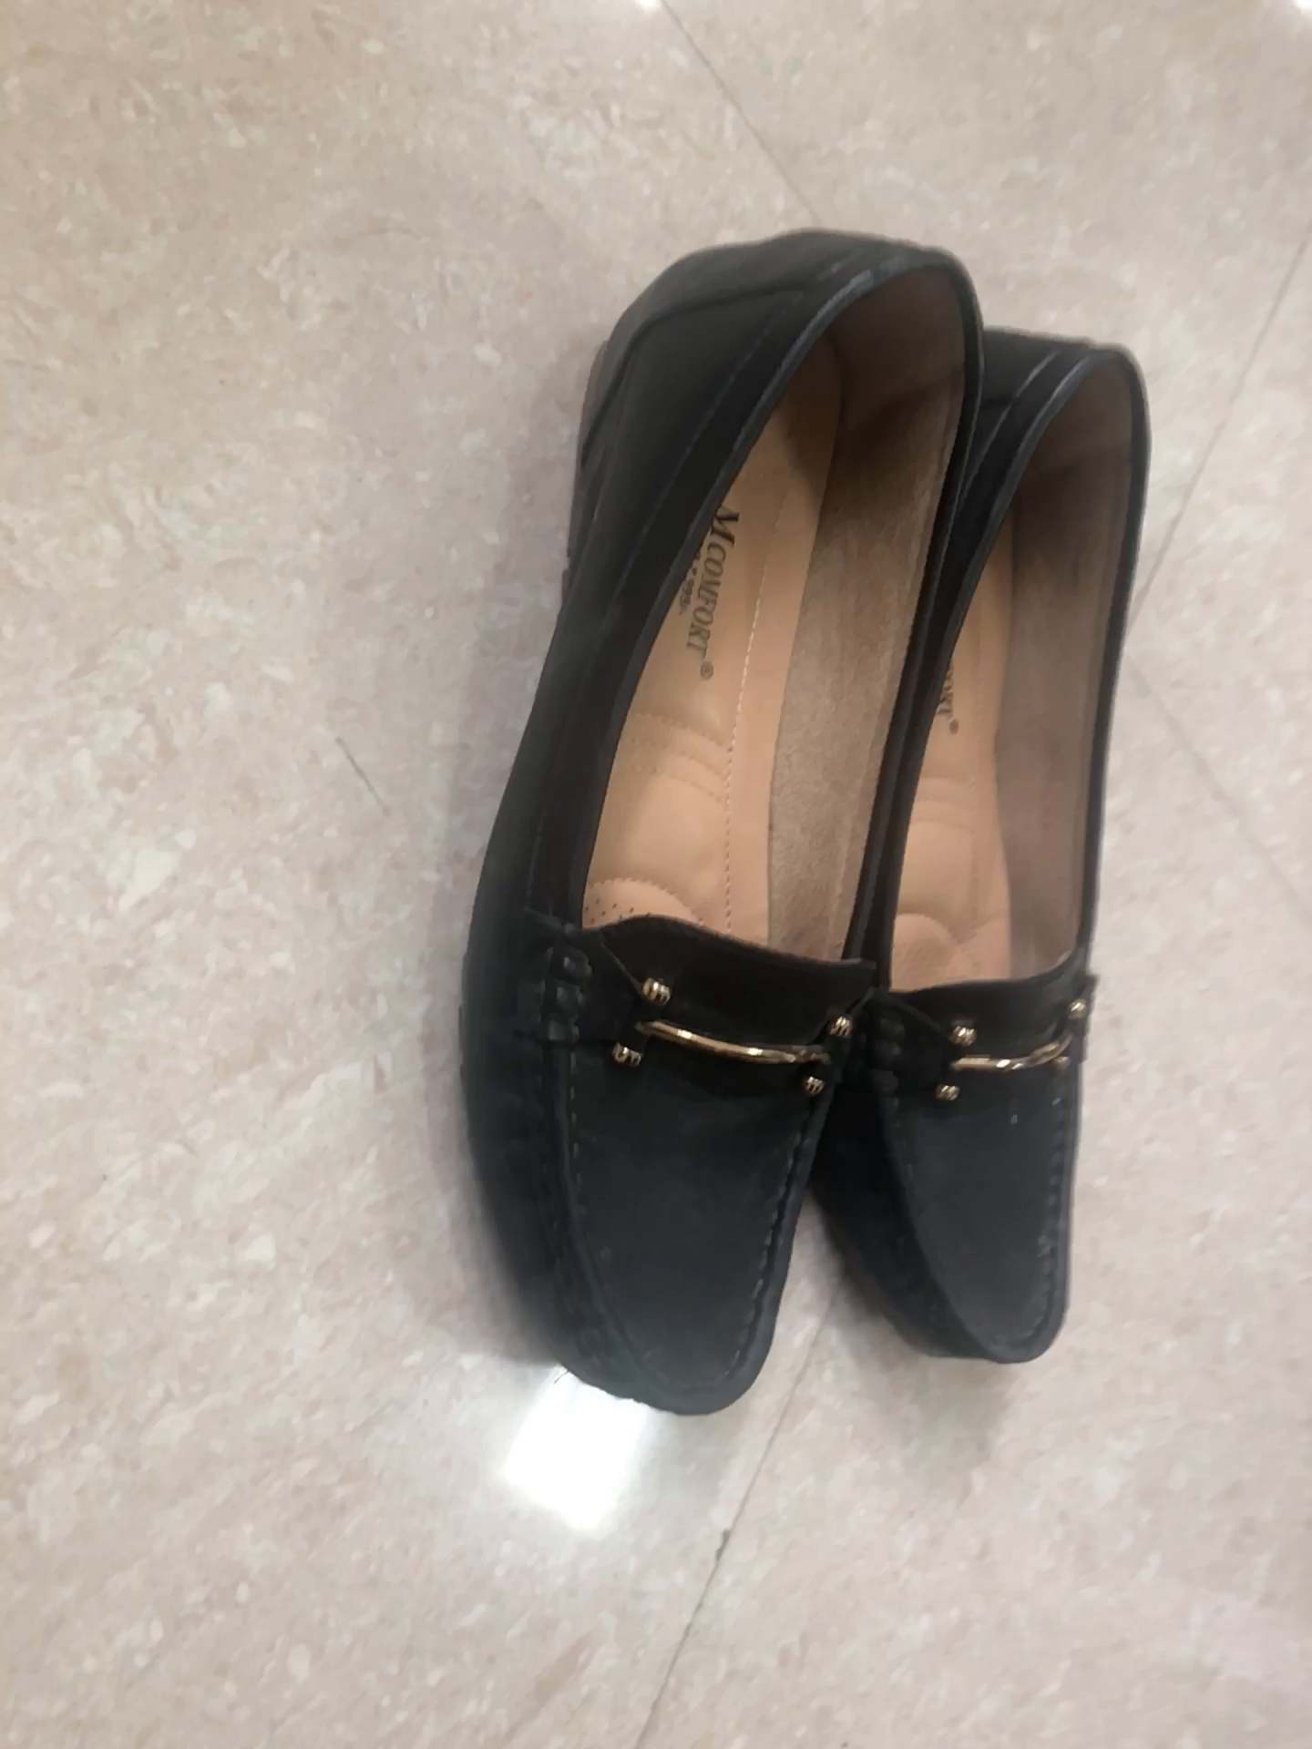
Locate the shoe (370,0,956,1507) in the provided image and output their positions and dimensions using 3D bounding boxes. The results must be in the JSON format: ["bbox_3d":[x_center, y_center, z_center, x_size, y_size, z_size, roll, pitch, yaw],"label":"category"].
[{"bbox_3d":[0.005,-0.033,0.340,0.101,0.080,0.310,7,80,-38],"label":"shoe"}]

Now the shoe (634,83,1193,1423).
[{"bbox_3d":[0.068,-0.029,0.397,0.101,0.080,0.310,-1,85,-39],"label":"shoe"}]
